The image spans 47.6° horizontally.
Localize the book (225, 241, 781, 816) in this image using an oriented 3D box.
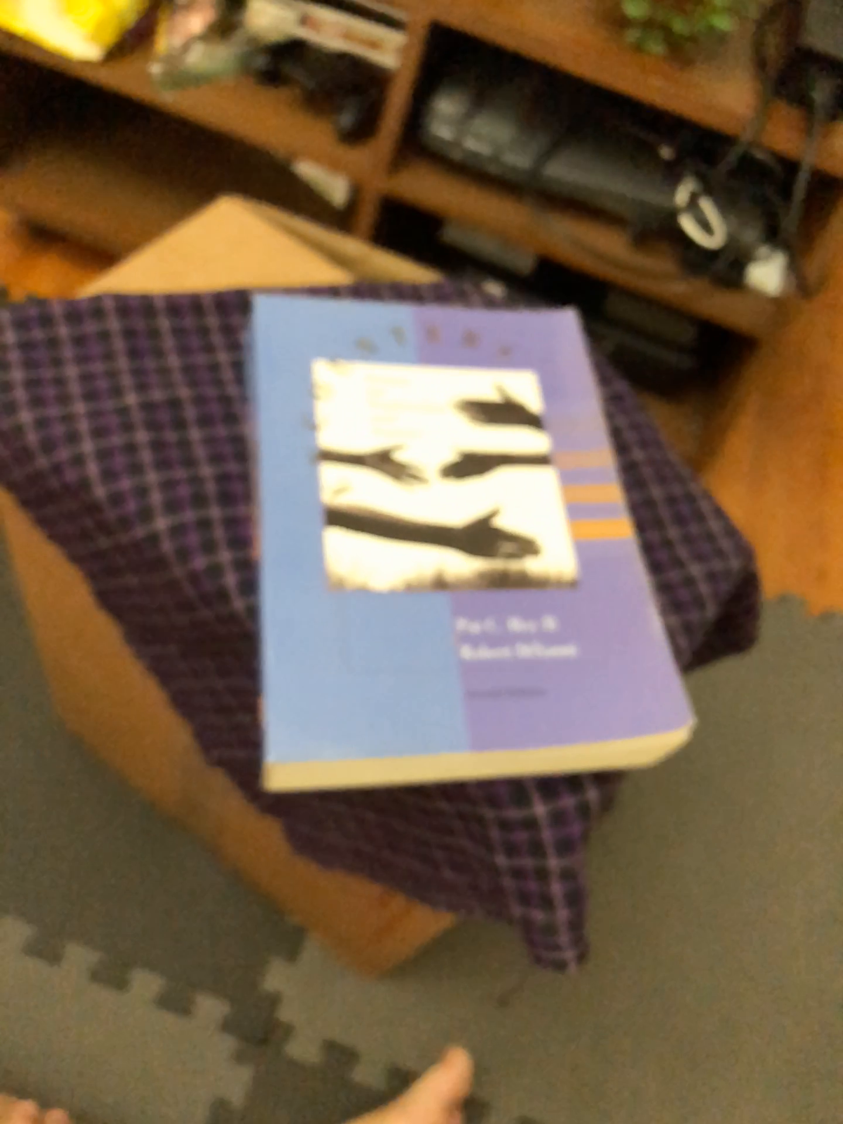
[{"bbox_3d":[0.018,-0.029,0.421,0.200,0.040,0.261,0,58,-14],"label":"book"}]
